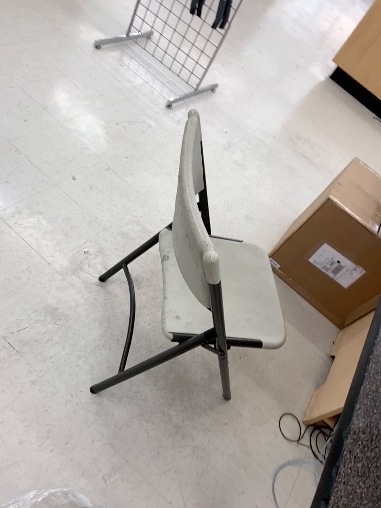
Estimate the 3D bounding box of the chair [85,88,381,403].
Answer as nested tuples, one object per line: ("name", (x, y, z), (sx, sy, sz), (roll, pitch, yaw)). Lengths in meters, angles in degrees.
("chair", (0.062, 0.065, 1.173), (0.561, 0.746, 0.532), (11, 52, -22))
